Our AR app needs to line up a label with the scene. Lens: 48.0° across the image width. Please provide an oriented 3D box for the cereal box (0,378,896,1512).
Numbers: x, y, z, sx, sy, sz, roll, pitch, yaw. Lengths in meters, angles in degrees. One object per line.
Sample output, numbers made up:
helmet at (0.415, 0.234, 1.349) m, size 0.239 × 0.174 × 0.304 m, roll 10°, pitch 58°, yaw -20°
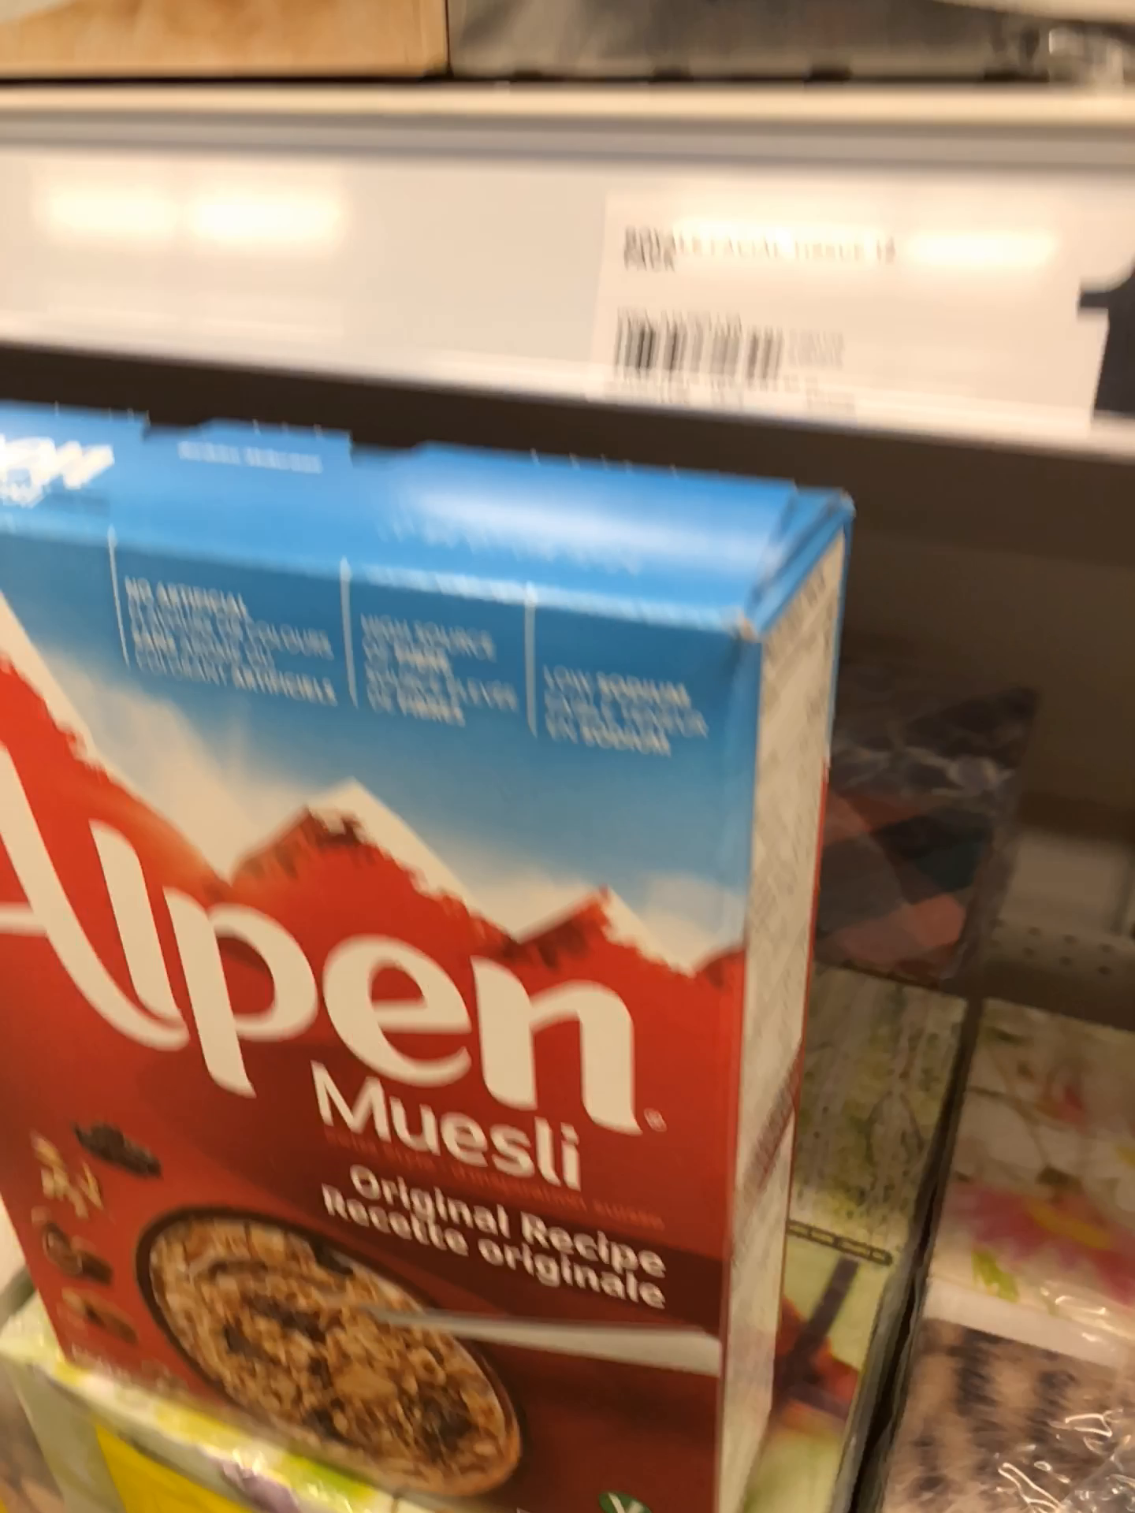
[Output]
cereal box at (-0.045, 0.056, 0.244) m, size 0.180 × 0.229 × 0.050 m, roll 11°, pitch 35°, yaw 19°
